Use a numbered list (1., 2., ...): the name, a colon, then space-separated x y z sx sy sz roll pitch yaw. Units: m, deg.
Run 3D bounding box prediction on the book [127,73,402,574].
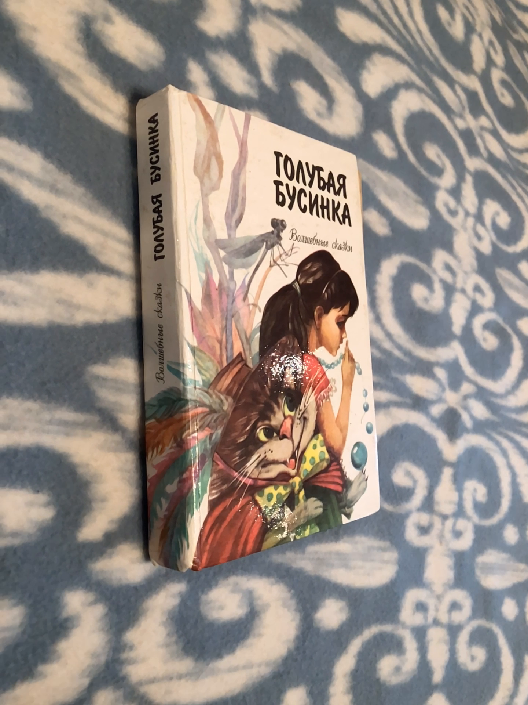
1. book: 0.008 -0.013 0.305 0.146 0.040 0.206 -1 86 -44
